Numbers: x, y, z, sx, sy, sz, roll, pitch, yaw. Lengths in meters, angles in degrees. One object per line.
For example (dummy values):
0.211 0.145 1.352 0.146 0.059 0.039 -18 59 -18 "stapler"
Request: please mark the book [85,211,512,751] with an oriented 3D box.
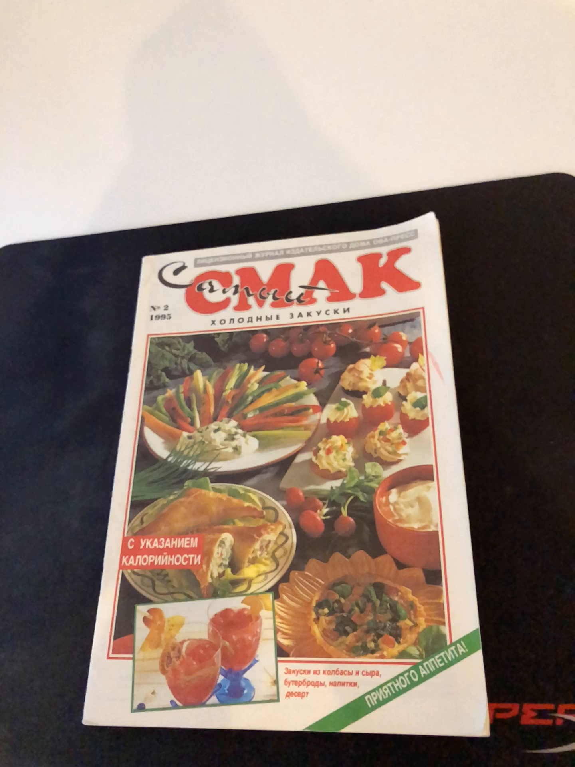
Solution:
0.000 0.029 0.286 0.160 0.010 0.231 -5 65 11 "book"
